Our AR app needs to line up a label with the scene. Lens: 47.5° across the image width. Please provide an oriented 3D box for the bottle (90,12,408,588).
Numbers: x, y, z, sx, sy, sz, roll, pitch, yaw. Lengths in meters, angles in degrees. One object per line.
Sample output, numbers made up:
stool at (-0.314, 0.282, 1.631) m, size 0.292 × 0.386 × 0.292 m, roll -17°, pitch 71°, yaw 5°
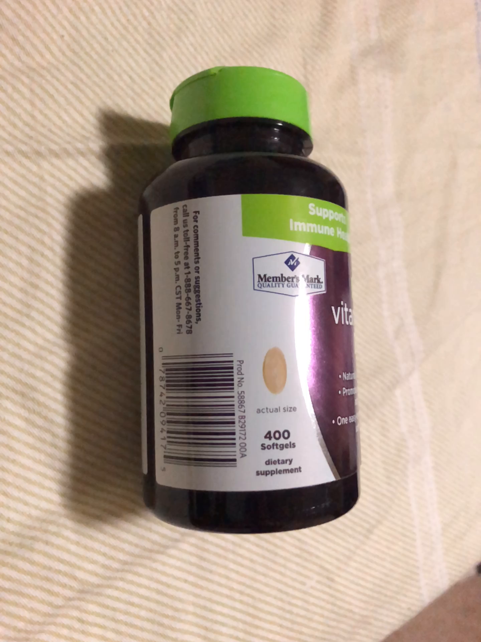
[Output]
bottle at (0.003, -0.003, 0.147) m, size 0.060 × 0.060 × 0.110 m, roll 1°, pitch 88°, yaw -47°
